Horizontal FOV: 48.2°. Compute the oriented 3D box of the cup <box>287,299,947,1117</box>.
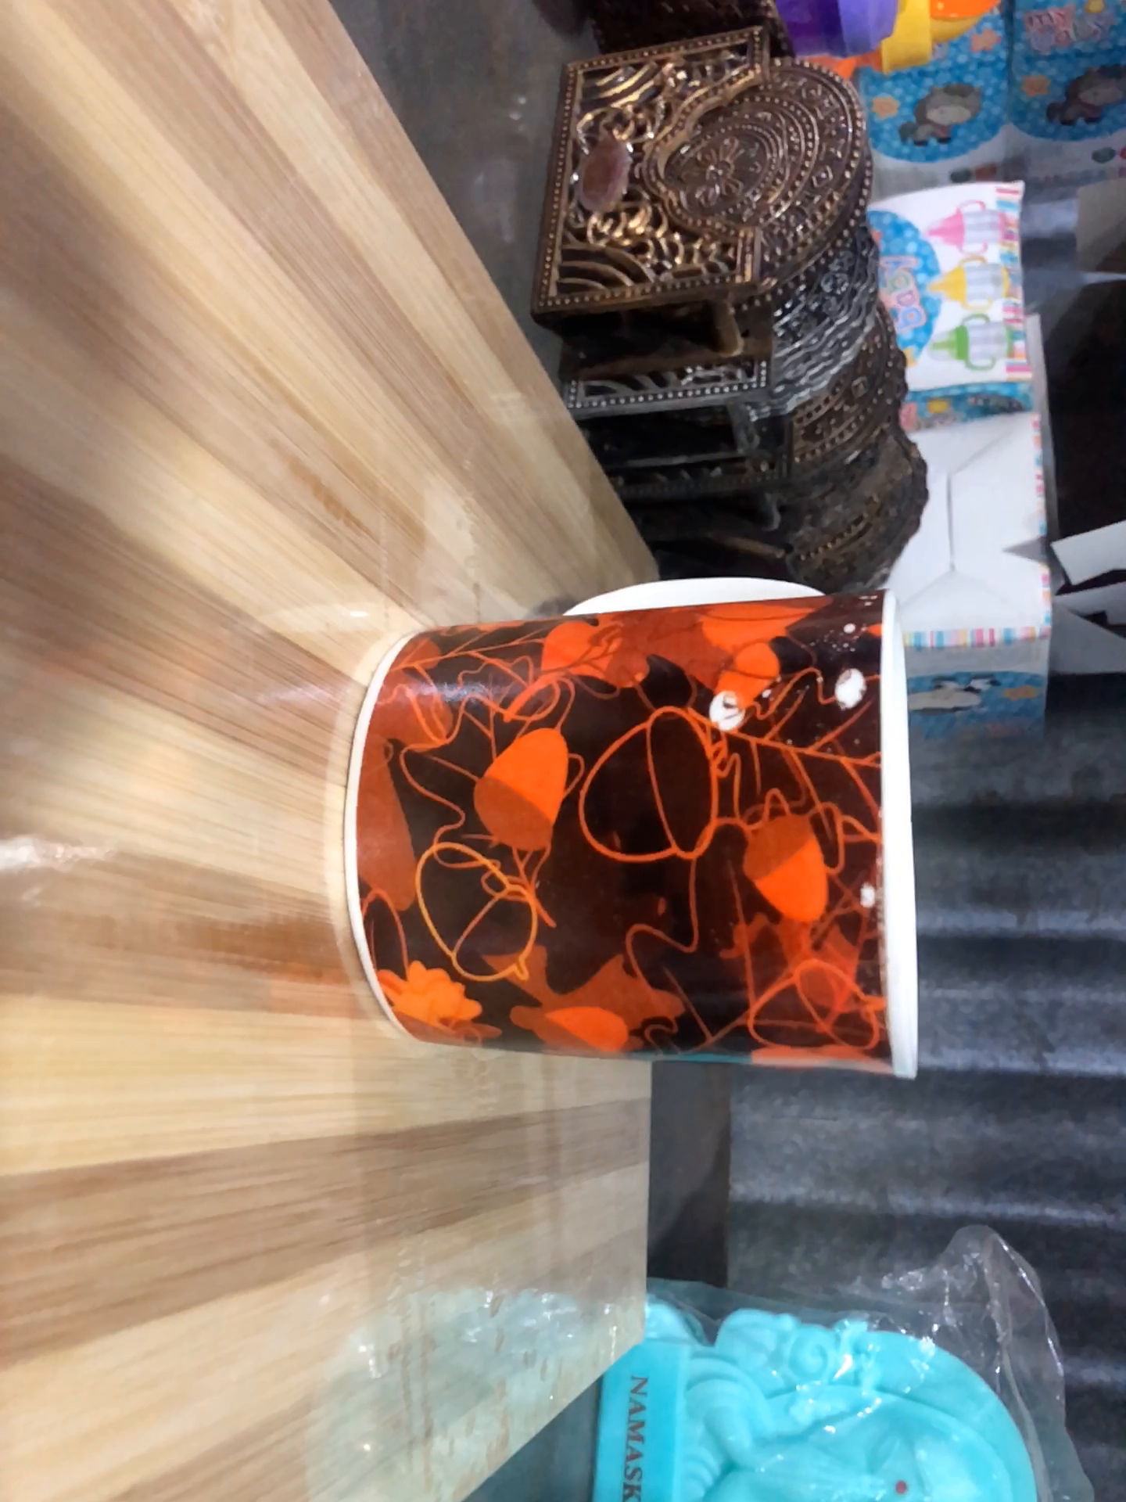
[{"bbox_3d":[0.022,-0.011,0.213,0.110,0.080,0.080,-74,157,-46],"label":"cup"}]
